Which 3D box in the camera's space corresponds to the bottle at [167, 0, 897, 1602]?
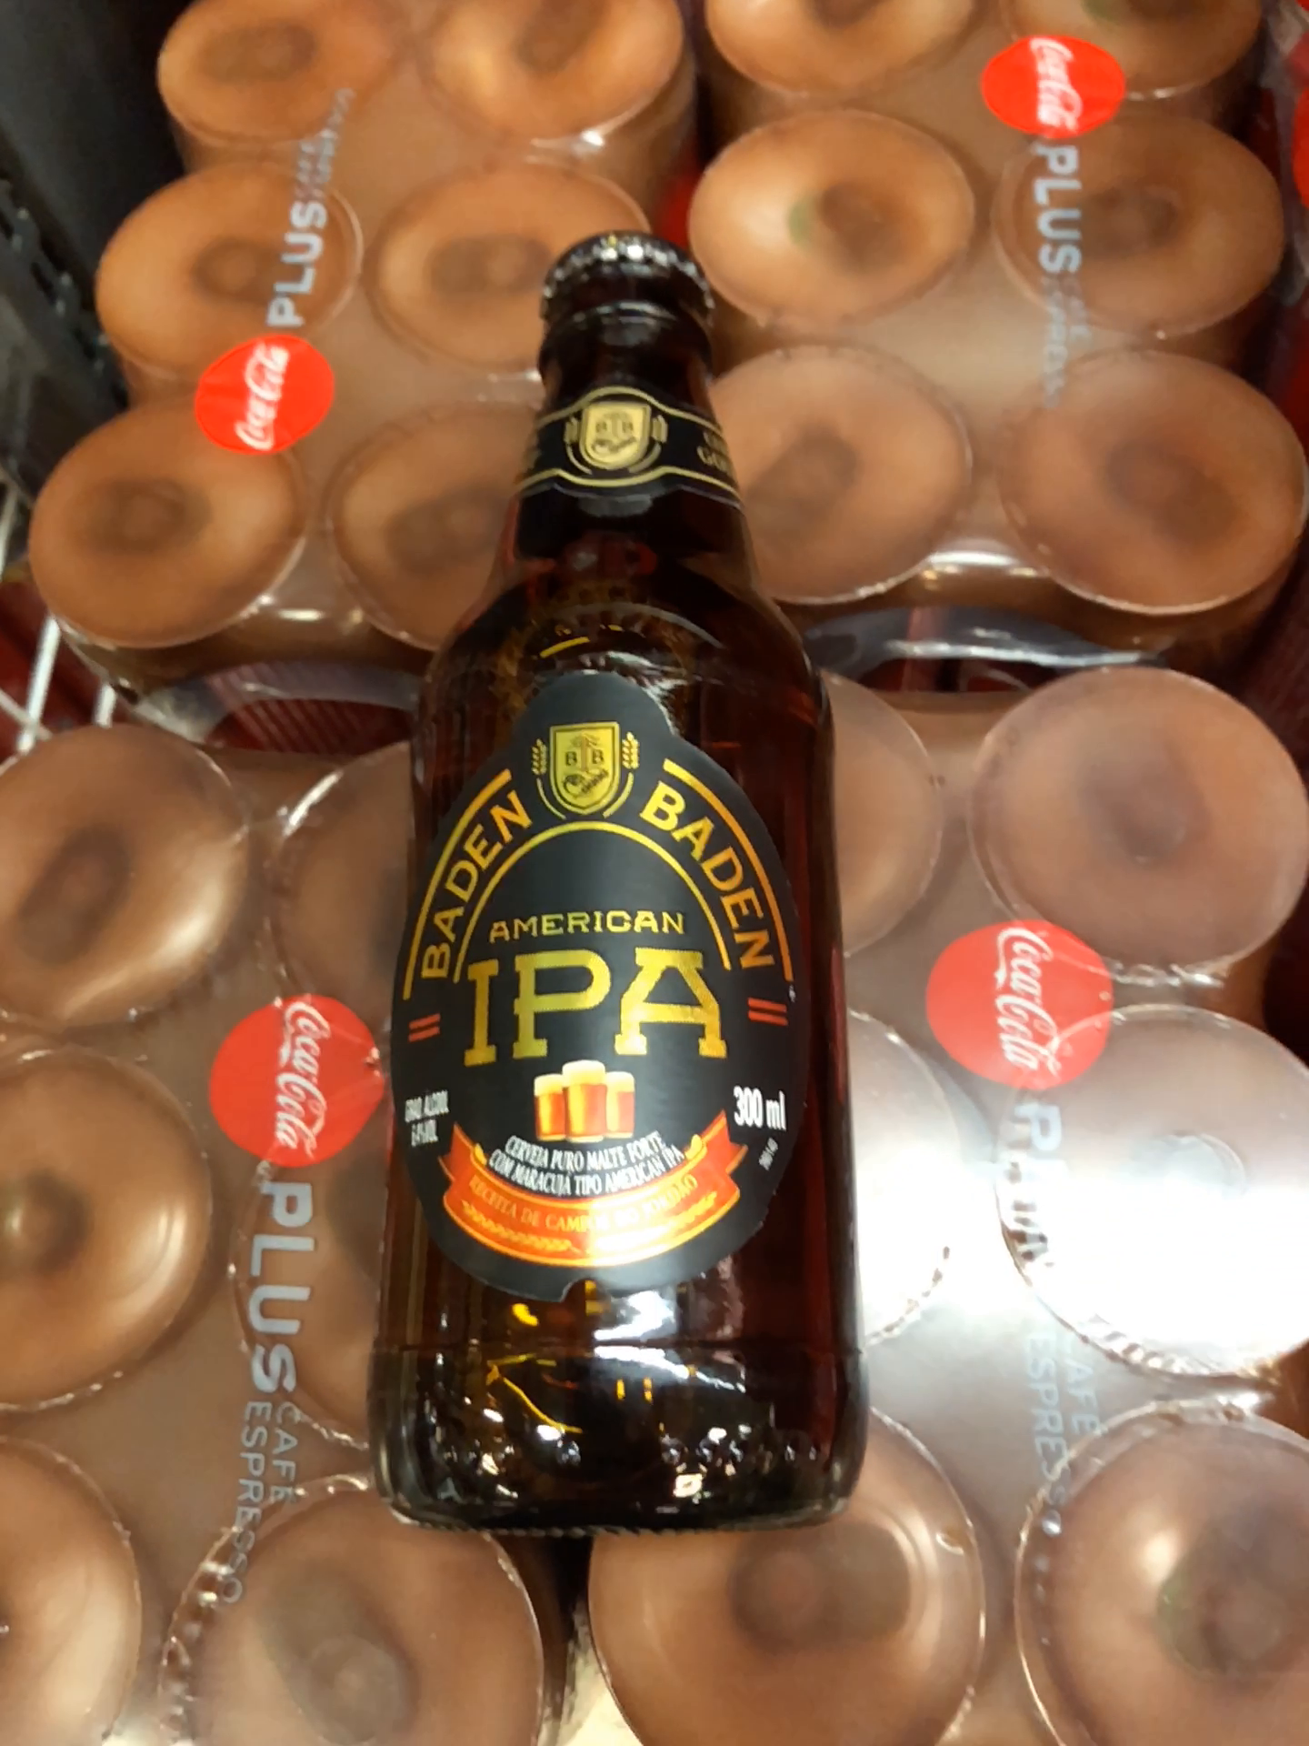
[{"bbox_3d":[-0.011,-0.020,0.201,0.070,0.050,0.211,-2,69,4],"label":"bottle"}]
